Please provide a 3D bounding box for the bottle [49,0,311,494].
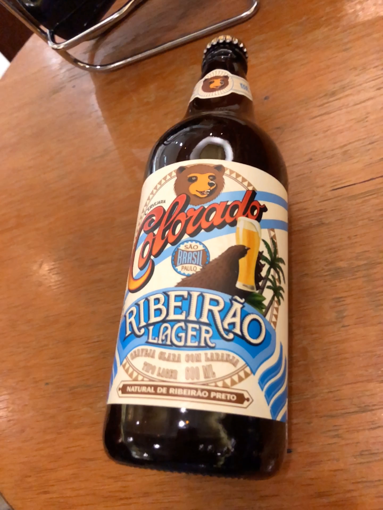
[{"bbox_3d":[0.010,-0.030,0.225,0.090,0.060,0.261,-4,64,22],"label":"bottle"}]
